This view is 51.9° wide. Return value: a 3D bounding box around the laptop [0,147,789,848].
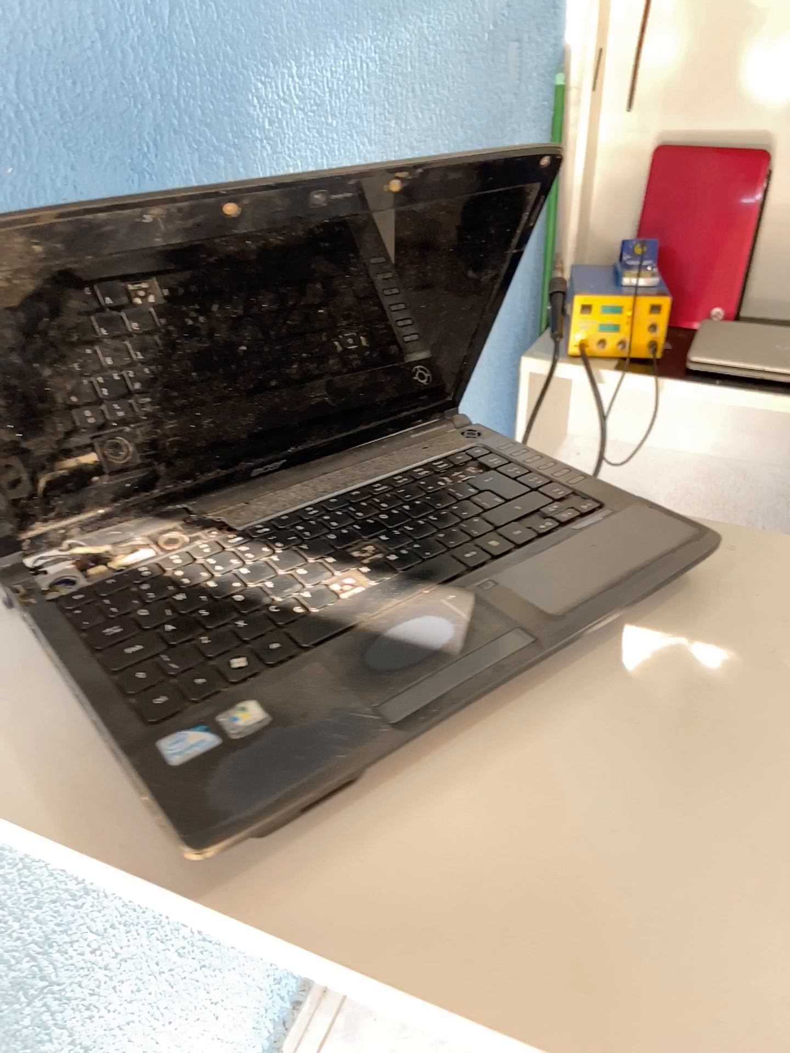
[{"bbox_3d":[-0.014,-0.066,0.408,0.335,0.182,0.229,-23,37,-32],"label":"laptop"}]
